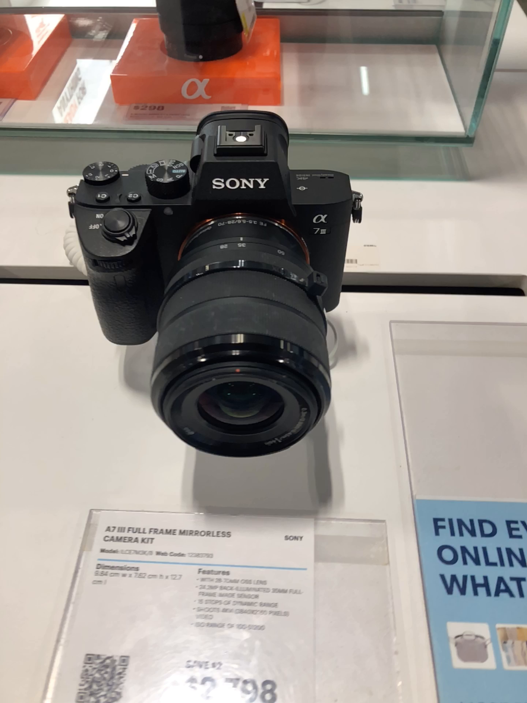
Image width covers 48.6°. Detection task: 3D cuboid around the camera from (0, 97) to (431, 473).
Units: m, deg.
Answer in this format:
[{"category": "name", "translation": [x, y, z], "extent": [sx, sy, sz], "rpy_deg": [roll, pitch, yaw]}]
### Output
[{"category": "camera", "translation": [-0.017, -0.037, 0.264], "extent": [0.140, 0.080, 0.161], "rpy_deg": [0, 50, 1]}]
